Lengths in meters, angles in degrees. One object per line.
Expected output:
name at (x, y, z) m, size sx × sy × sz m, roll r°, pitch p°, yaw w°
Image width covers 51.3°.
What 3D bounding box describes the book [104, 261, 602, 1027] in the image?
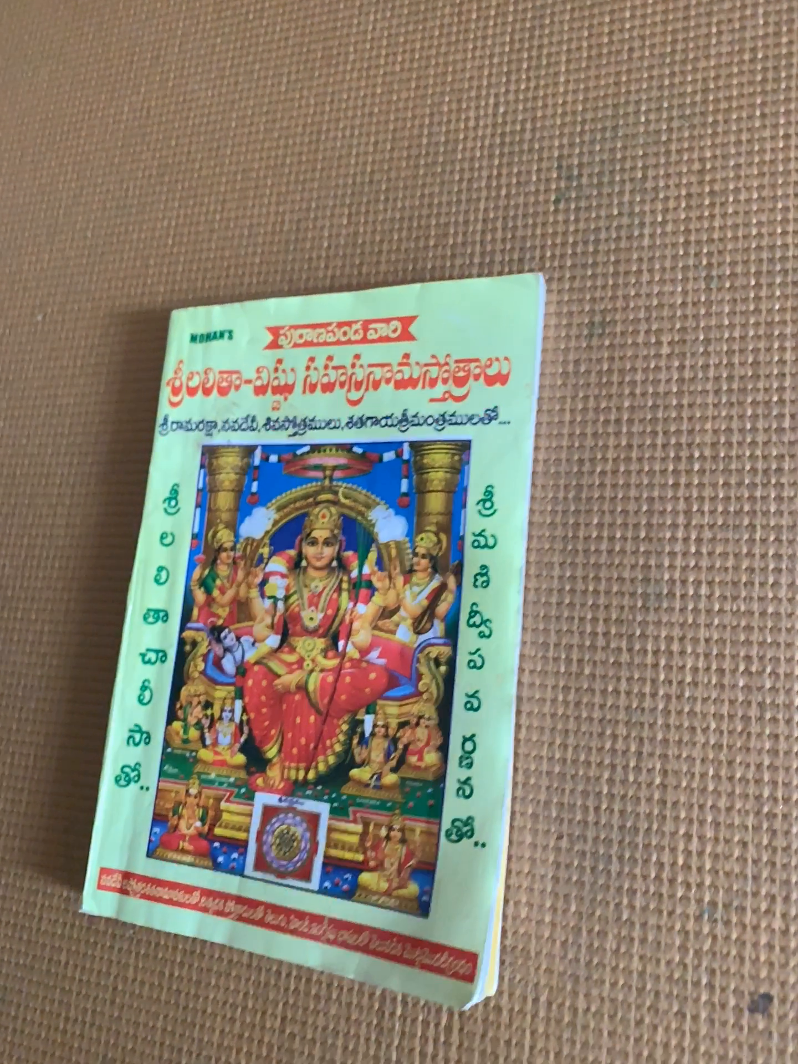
book at (-0.013, 0.022, 0.262) m, size 0.140 × 0.020 × 0.210 m, roll 1°, pitch 78°, yaw 20°
